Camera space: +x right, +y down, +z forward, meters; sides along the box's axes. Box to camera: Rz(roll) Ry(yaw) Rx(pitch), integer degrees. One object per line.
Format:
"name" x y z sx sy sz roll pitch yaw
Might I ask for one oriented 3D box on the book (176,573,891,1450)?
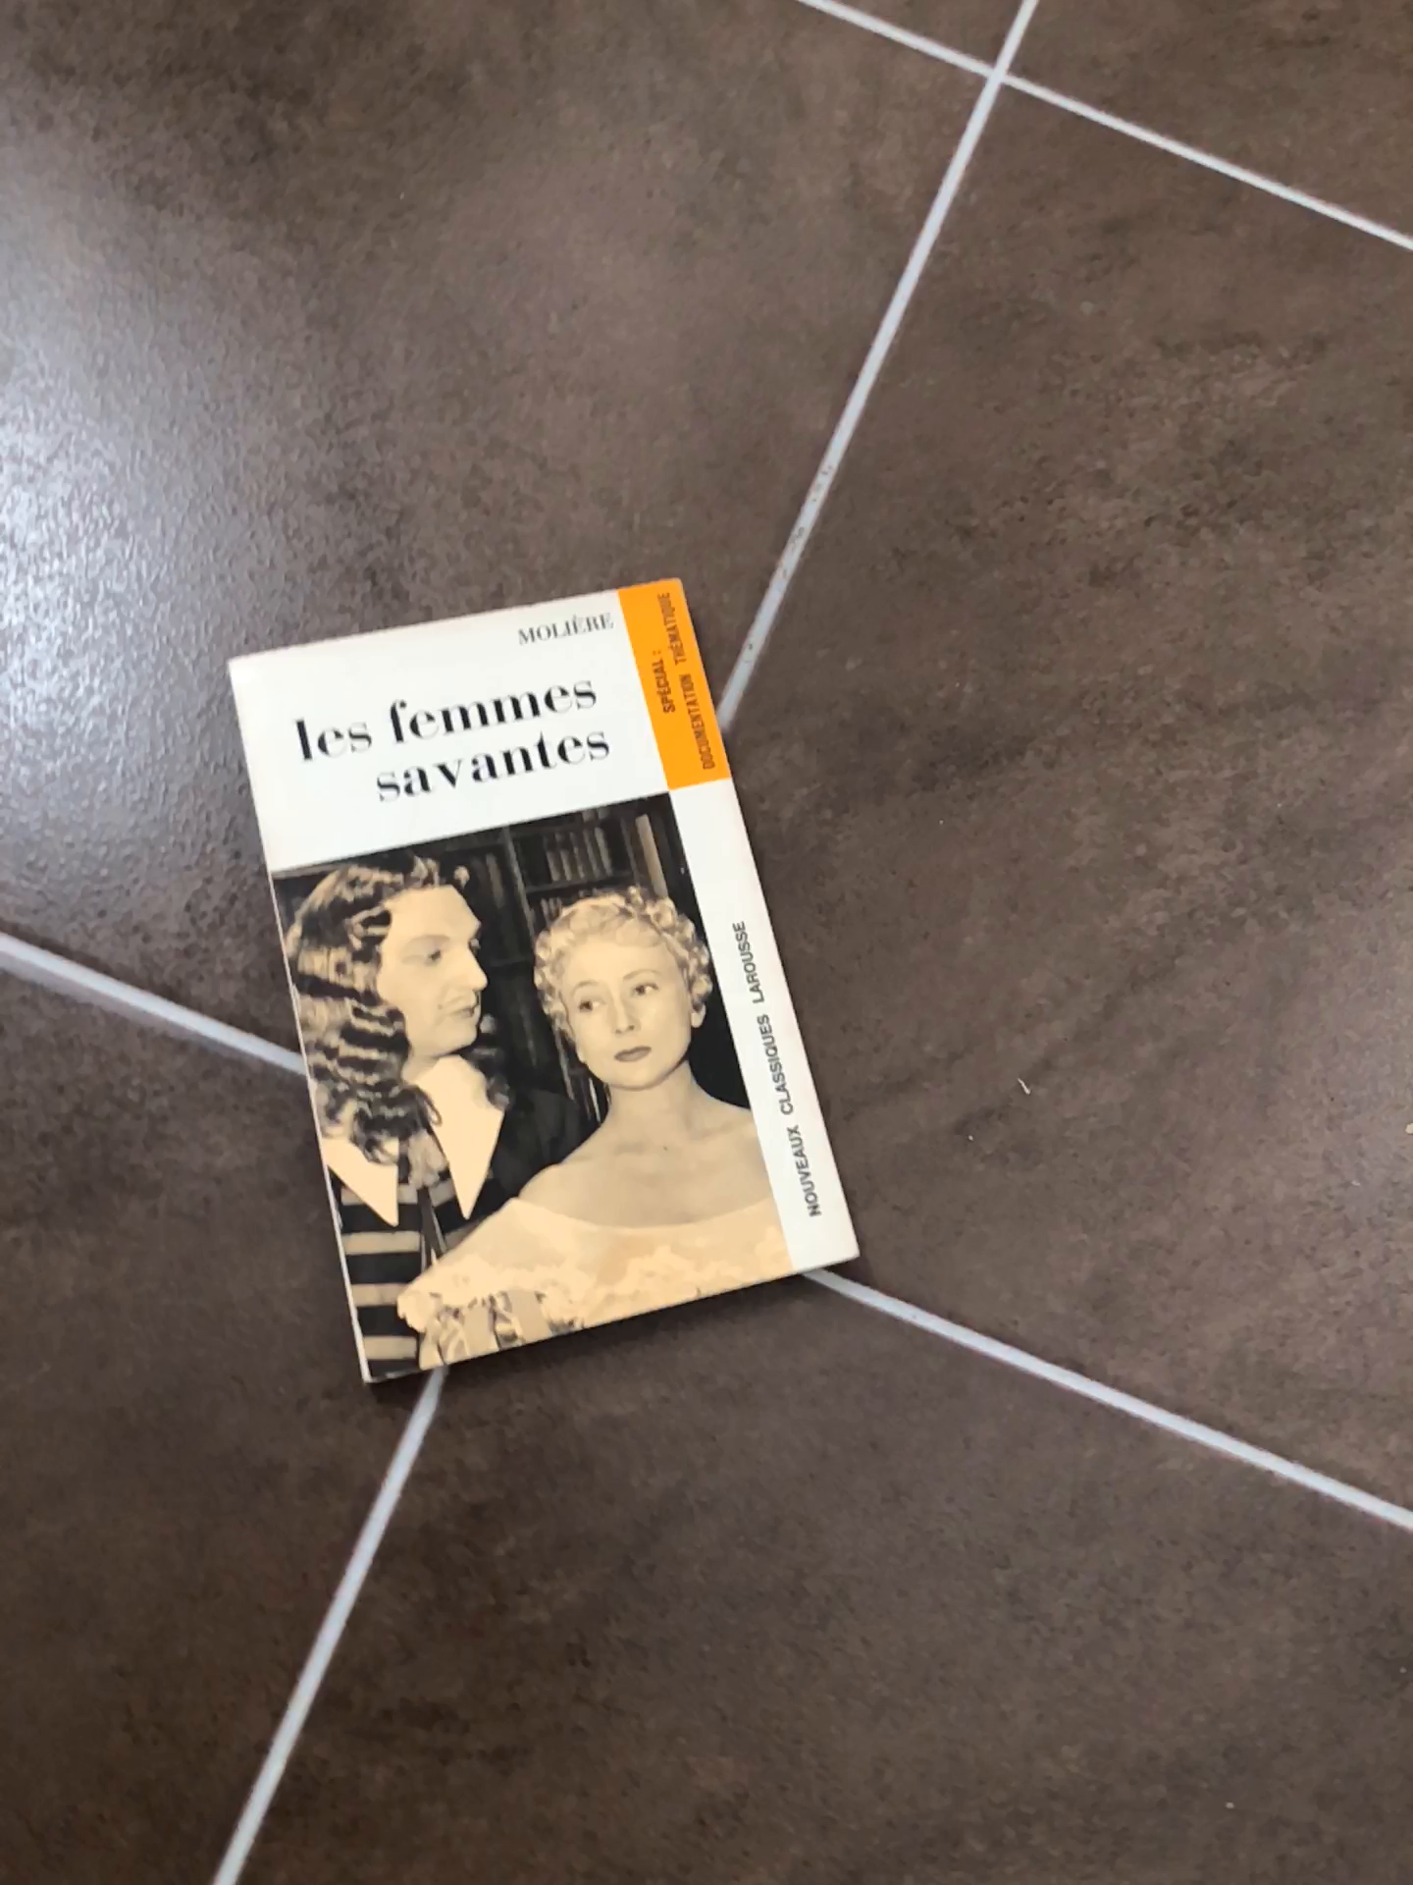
"book" -0.040 0.010 0.348 0.120 0.020 0.170 -12 81 -9
